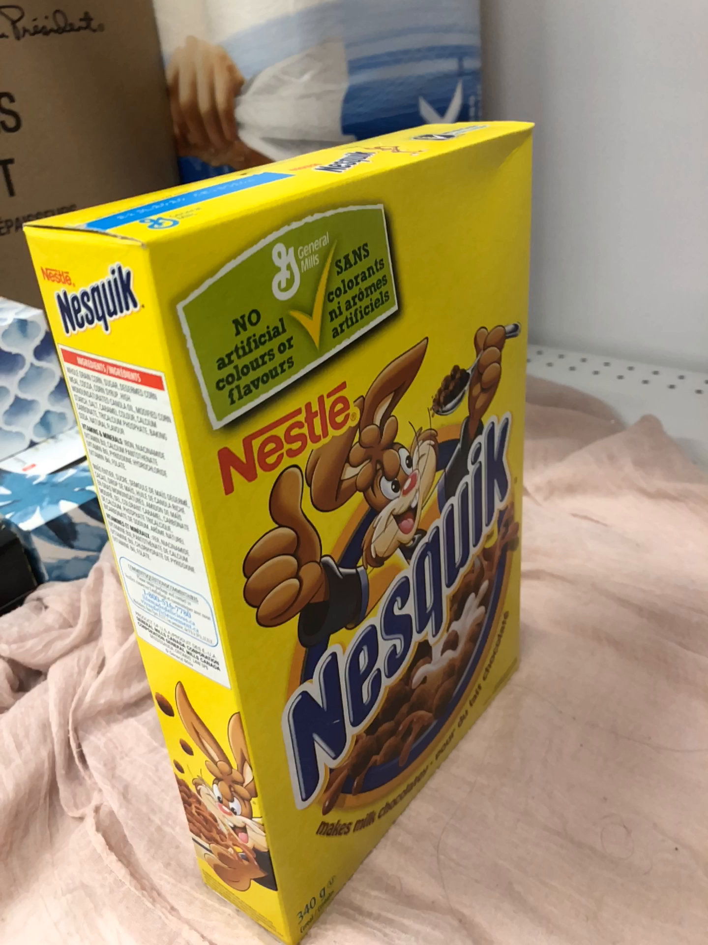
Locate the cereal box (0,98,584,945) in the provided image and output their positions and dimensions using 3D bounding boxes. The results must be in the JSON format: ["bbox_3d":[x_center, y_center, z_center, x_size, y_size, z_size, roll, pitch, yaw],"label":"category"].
[{"bbox_3d":[0.008,0.011,0.306,0.060,0.259,0.200,19,38,35],"label":"cereal box"}]
